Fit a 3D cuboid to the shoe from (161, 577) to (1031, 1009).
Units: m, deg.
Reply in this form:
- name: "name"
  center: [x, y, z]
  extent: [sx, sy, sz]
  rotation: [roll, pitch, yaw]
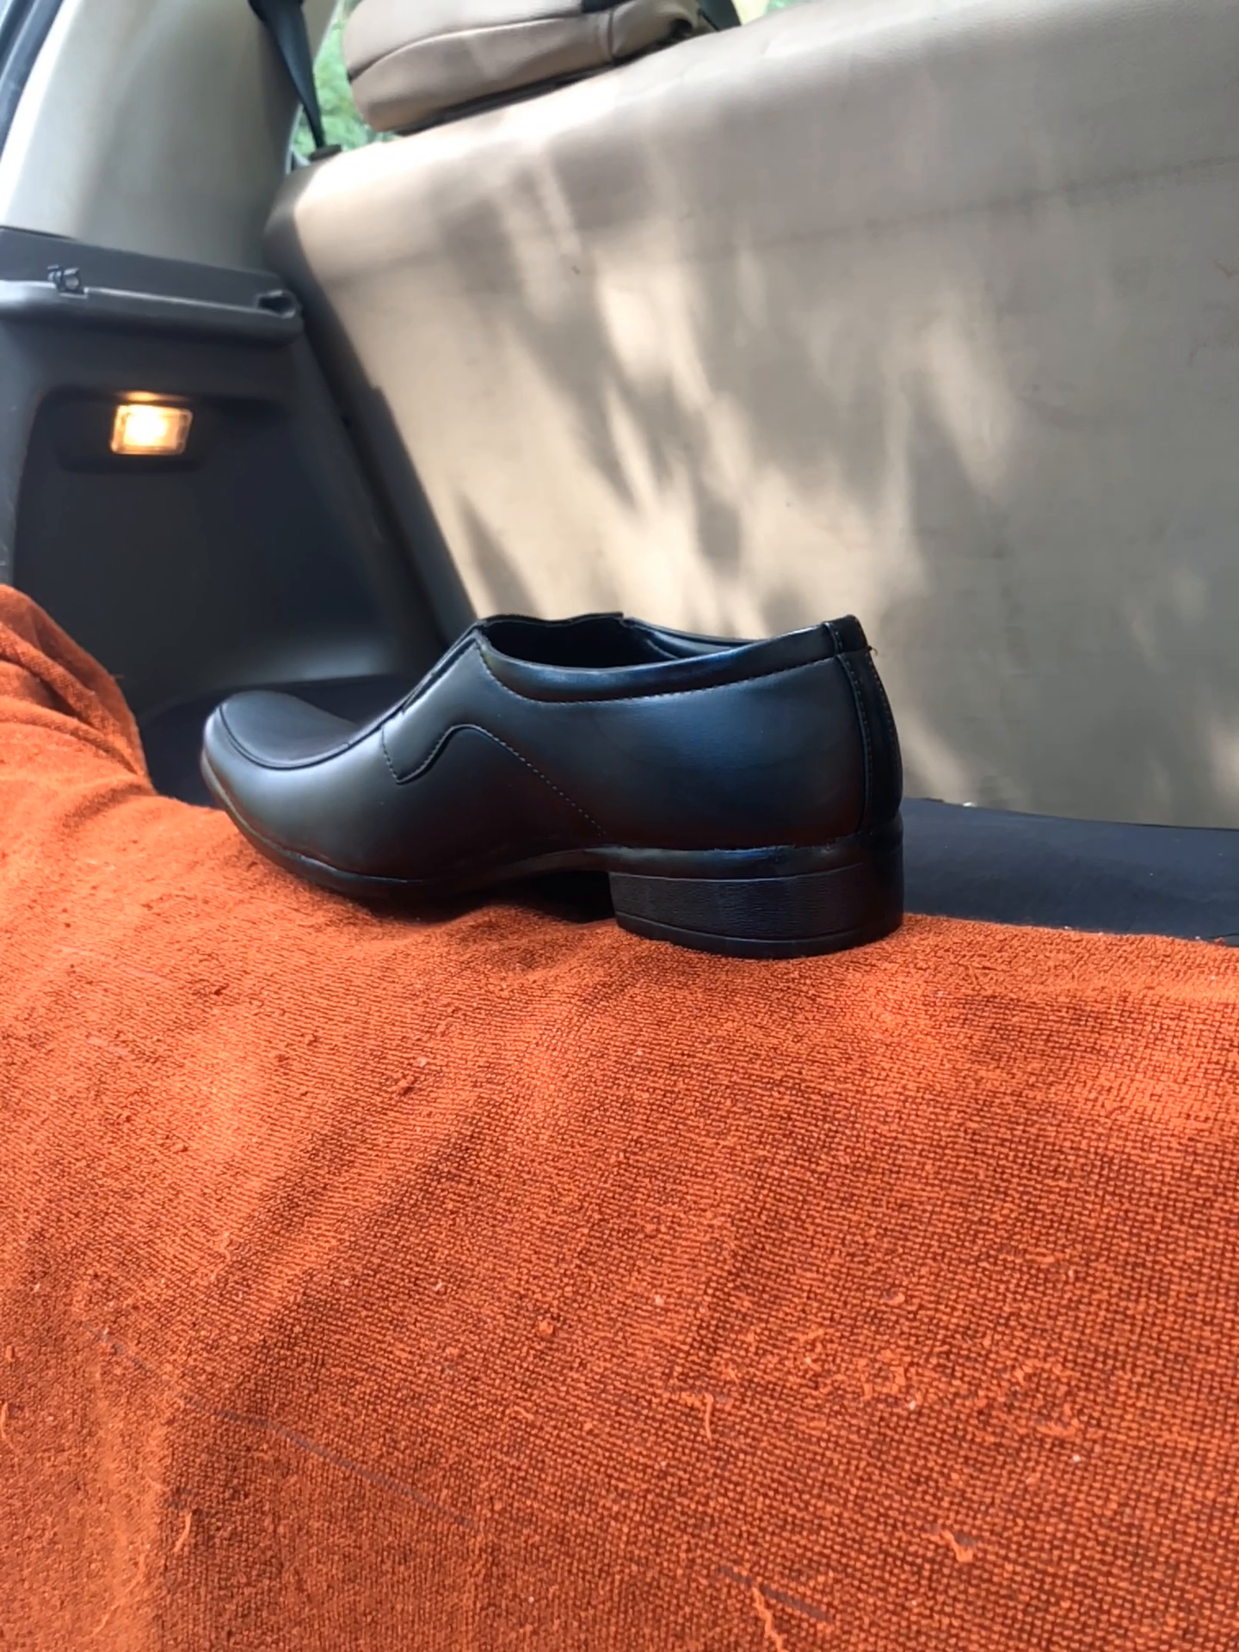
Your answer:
- name: "shoe"
  center: [-0.023, -0.035, 0.503]
  extent: [0.161, 0.100, 0.290]
  rotation: [-14, 17, -41]
